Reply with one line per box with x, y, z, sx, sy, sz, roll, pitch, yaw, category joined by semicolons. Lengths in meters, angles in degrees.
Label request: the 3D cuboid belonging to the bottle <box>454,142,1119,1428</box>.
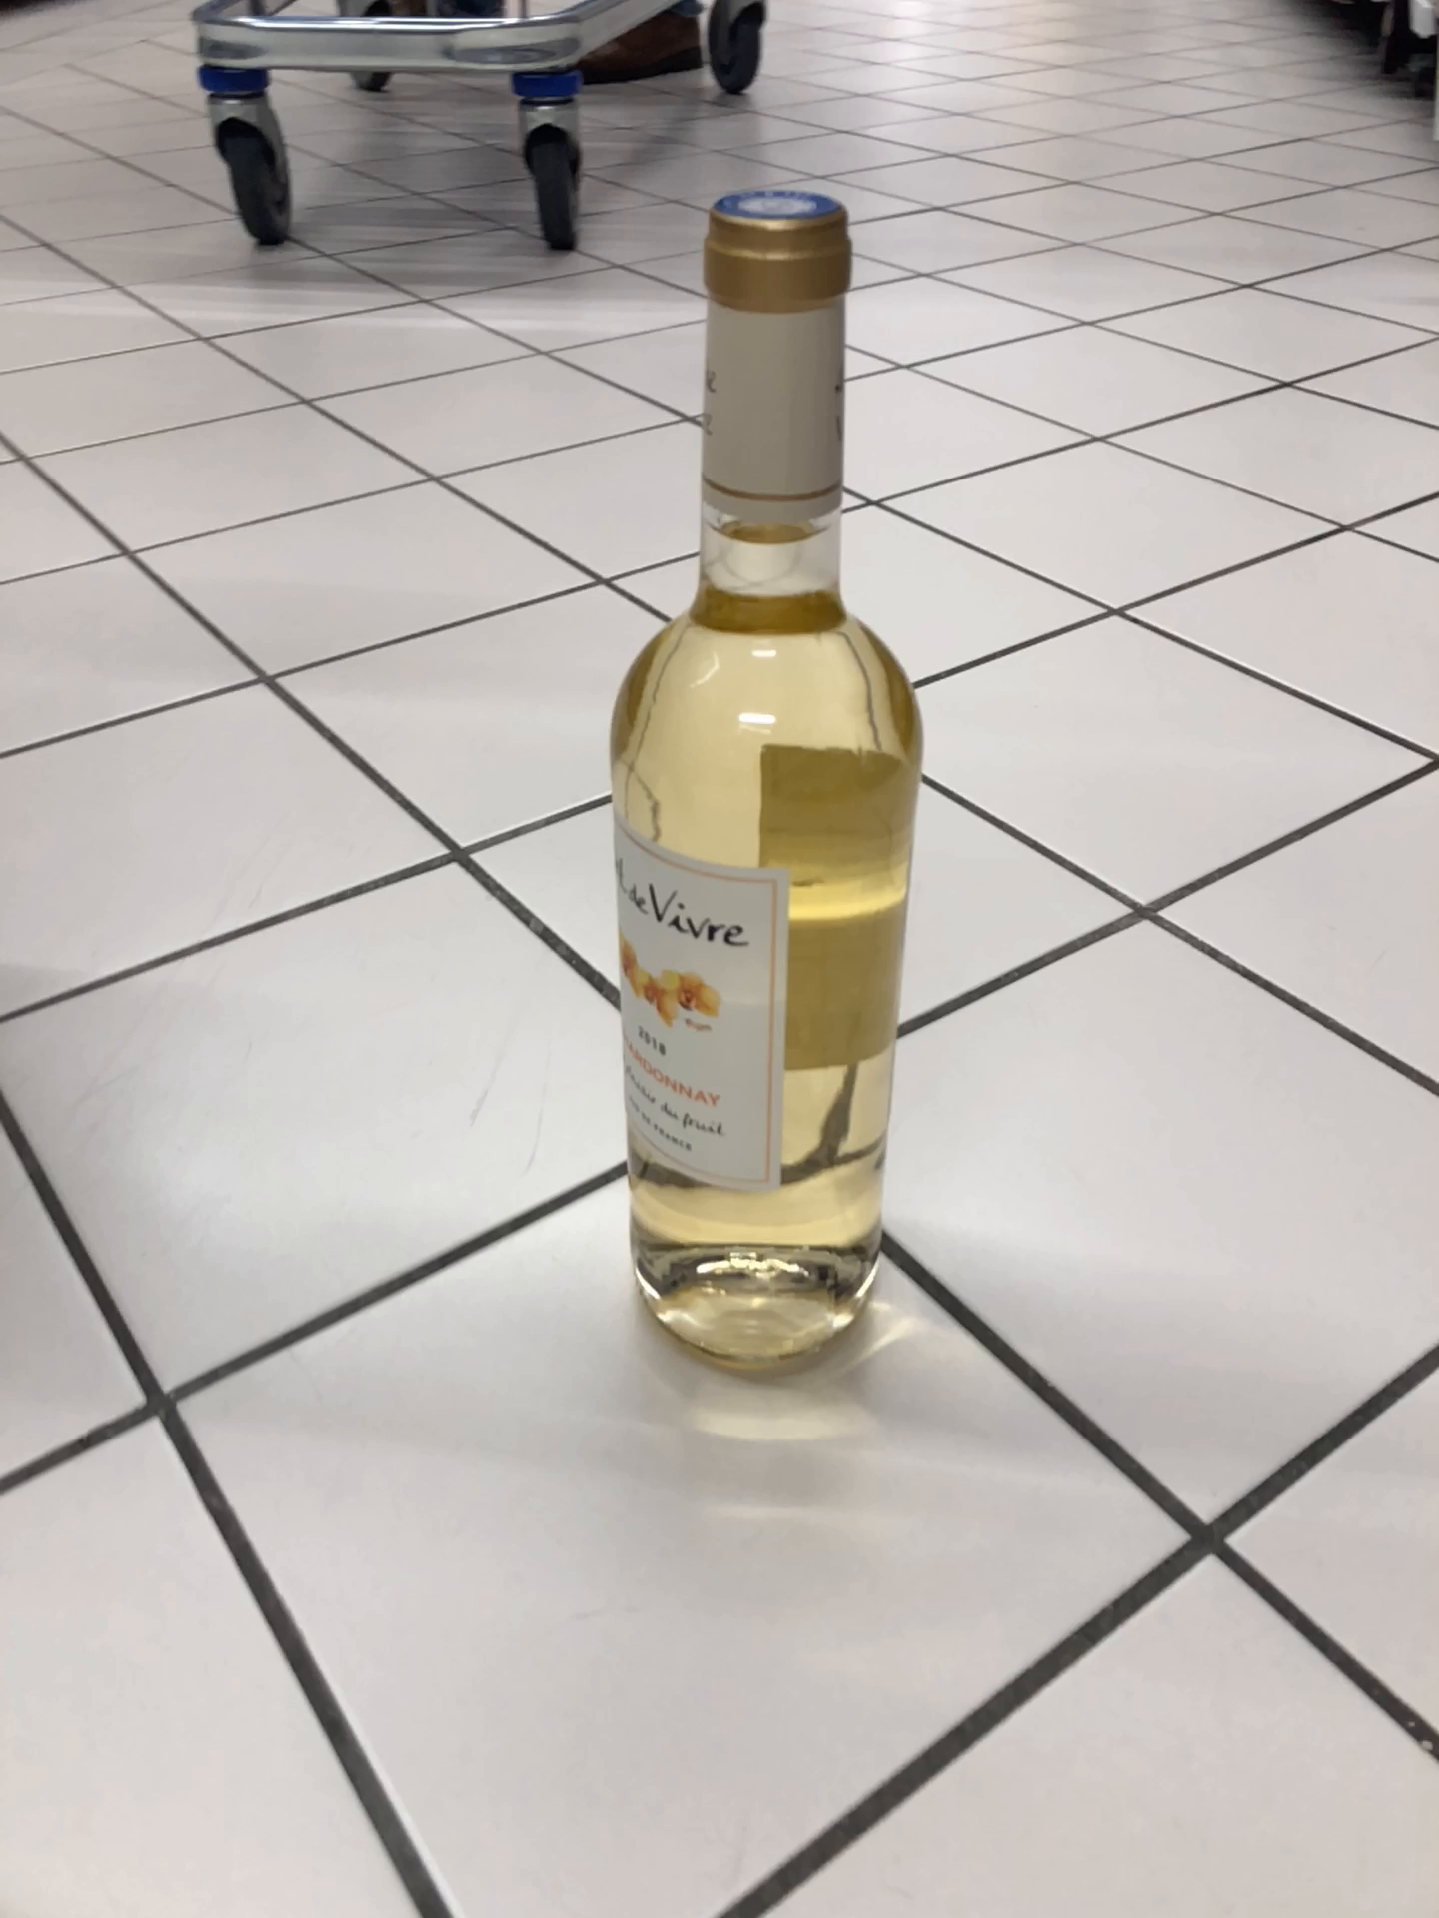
0.013;-0.029;0.387;0.090;0.288;0.090;0;36;0;bottle
